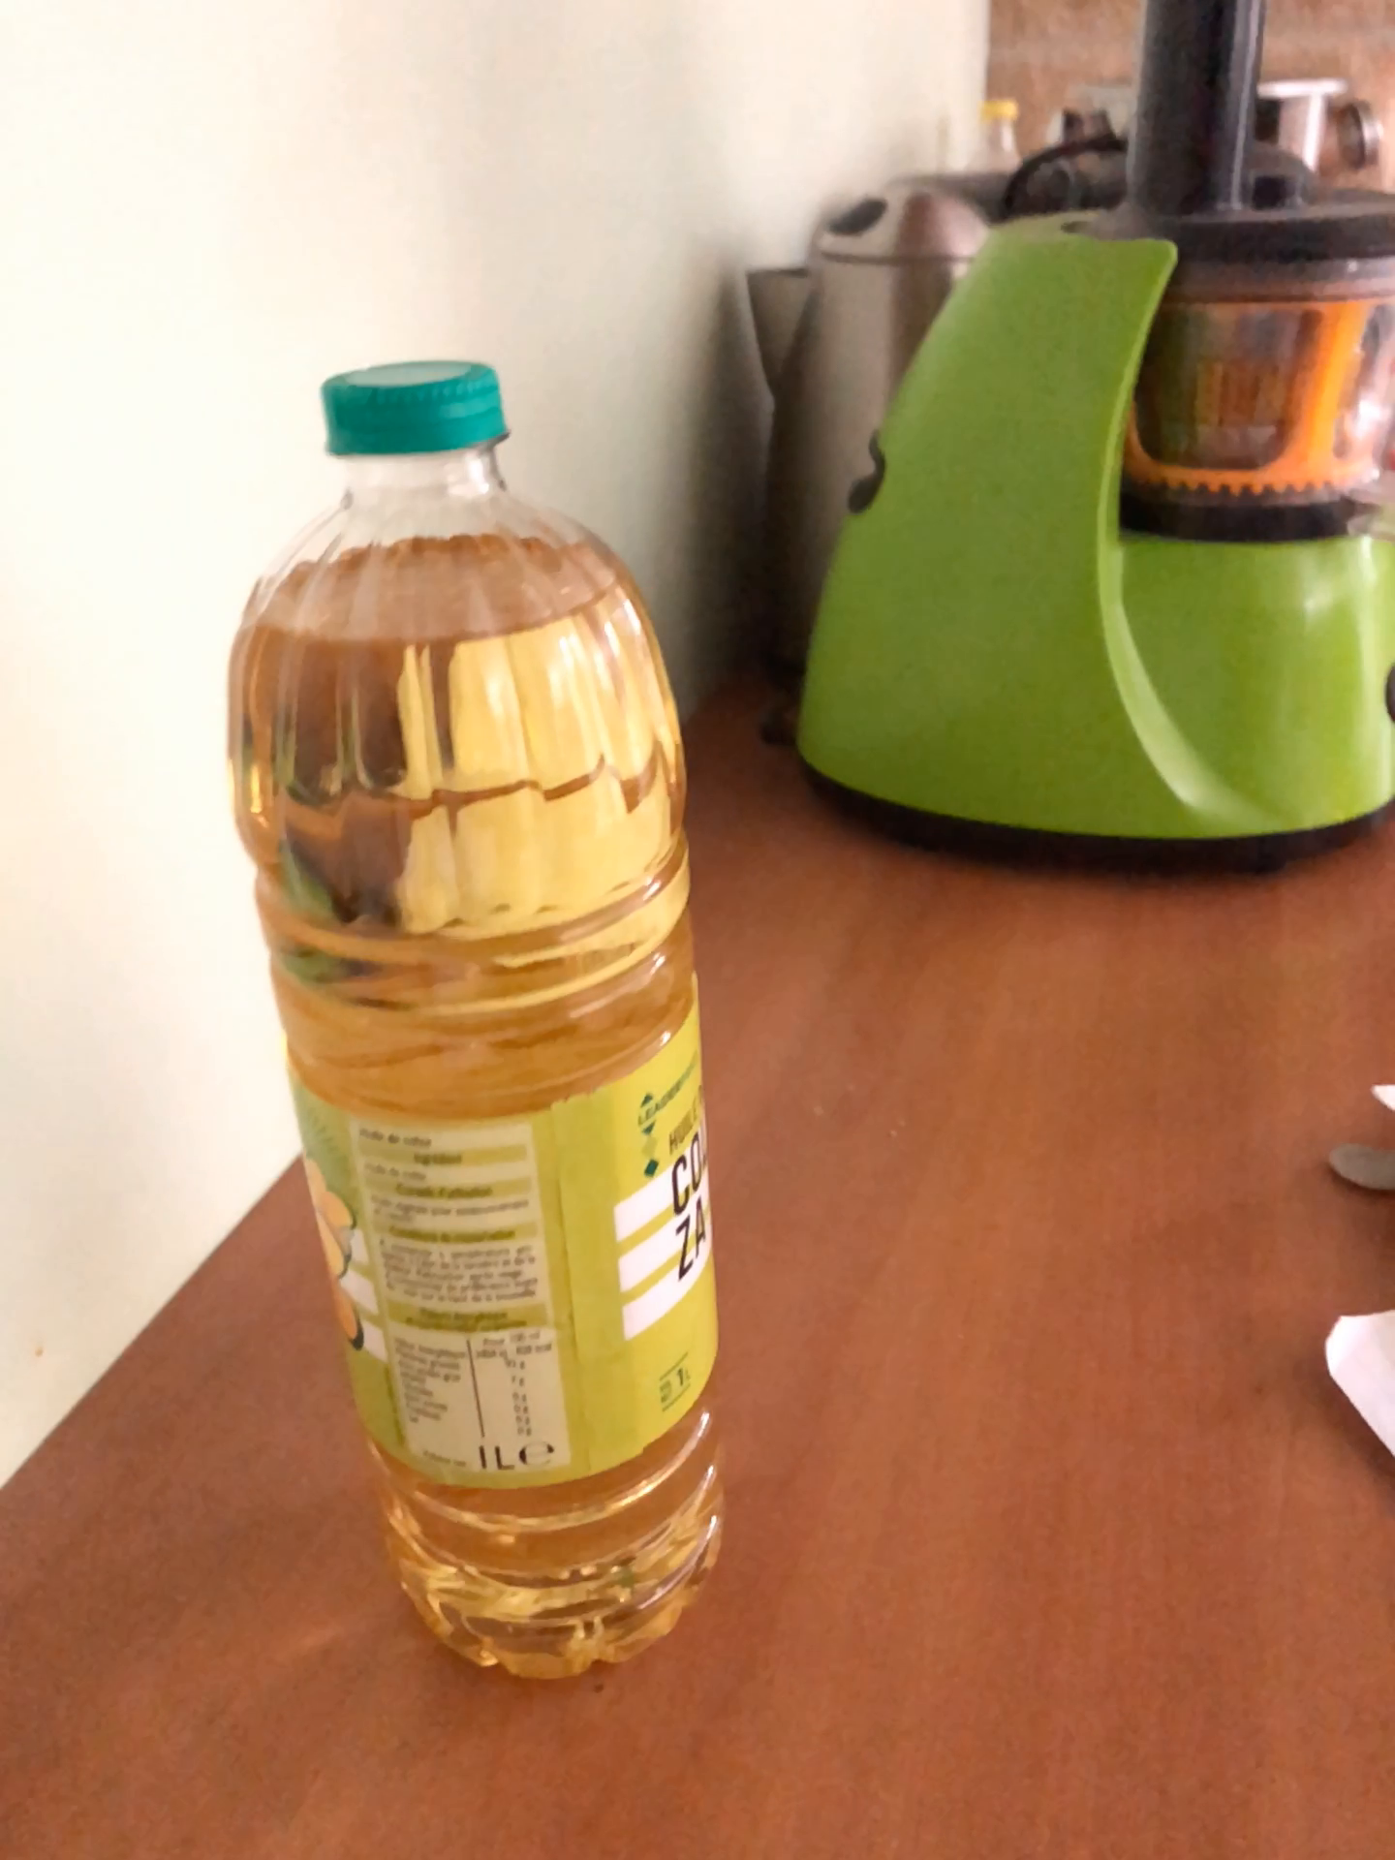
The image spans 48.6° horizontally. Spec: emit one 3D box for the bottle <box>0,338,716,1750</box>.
[{"bbox_3d":[-0.050,0.033,0.307,0.090,0.268,0.091,-2,28,1],"label":"bottle"}]
